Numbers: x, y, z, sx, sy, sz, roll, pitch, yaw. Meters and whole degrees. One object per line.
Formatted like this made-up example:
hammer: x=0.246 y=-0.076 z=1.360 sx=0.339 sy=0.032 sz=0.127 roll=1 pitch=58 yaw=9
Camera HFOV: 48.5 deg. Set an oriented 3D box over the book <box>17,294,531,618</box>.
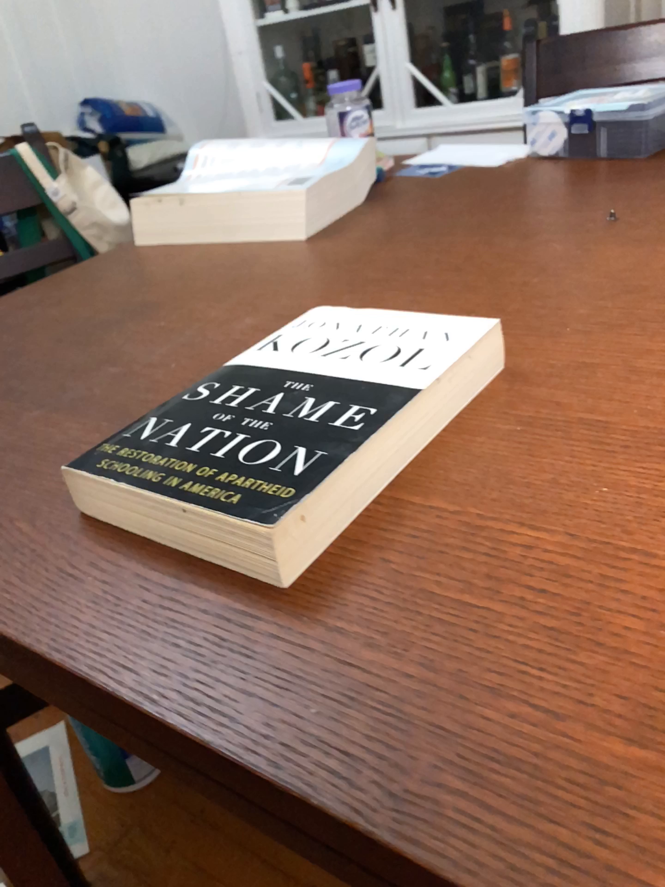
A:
book: x=-0.019 y=-0.019 z=0.390 sx=0.160 sy=0.030 sz=0.231 roll=12 pitch=37 yaw=36
